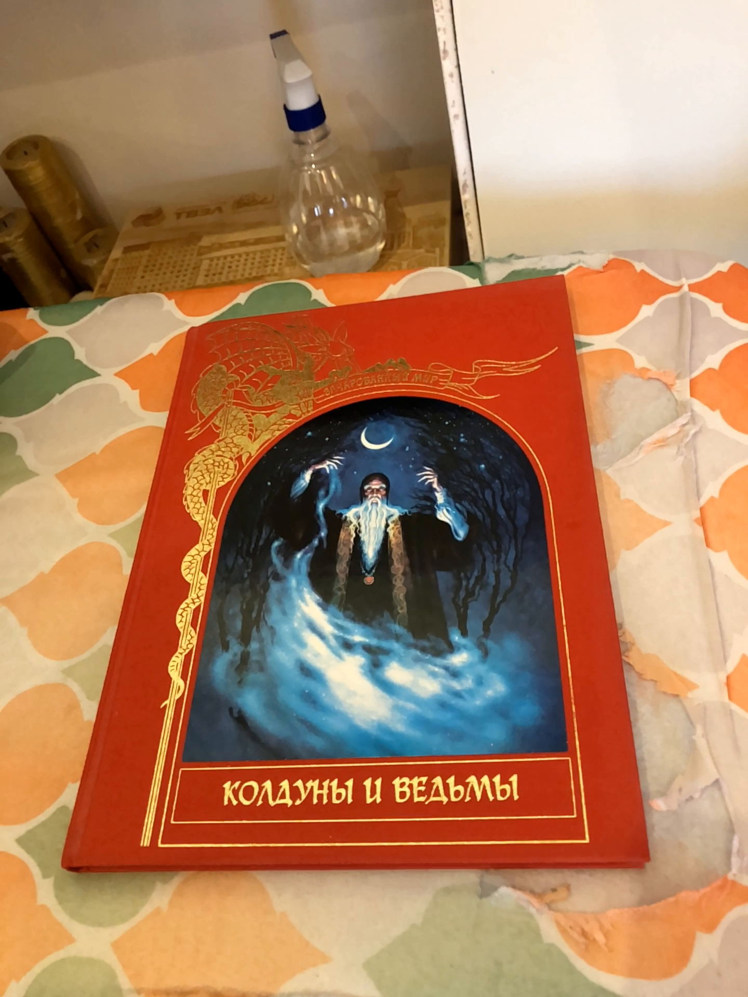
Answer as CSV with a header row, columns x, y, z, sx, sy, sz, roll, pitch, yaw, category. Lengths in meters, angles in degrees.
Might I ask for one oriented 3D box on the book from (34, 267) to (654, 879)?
x,y,z,sx,sy,sz,roll,pitch,yaw,category
-0.010,0.012,0.372,0.215,0.020,0.292,-5,53,11,book
